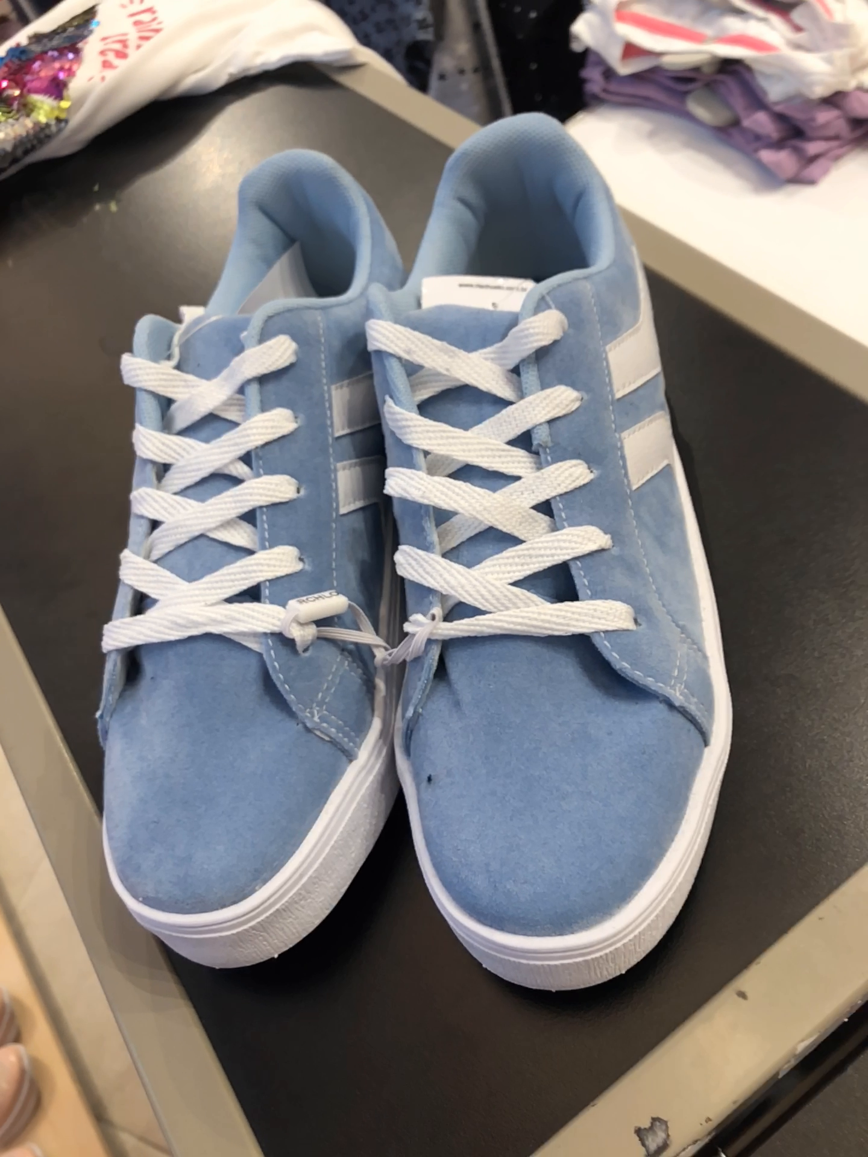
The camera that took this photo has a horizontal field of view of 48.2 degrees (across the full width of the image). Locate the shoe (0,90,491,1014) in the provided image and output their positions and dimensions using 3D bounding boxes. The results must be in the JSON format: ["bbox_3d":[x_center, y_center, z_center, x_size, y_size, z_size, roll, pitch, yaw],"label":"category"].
[{"bbox_3d":[-0.051,-0.012,0.292,0.100,0.119,0.241,-4,56,15],"label":"shoe"}]

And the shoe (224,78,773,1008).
[{"bbox_3d":[0.028,-0.014,0.288,0.100,0.119,0.241,-7,55,14],"label":"shoe"}]
